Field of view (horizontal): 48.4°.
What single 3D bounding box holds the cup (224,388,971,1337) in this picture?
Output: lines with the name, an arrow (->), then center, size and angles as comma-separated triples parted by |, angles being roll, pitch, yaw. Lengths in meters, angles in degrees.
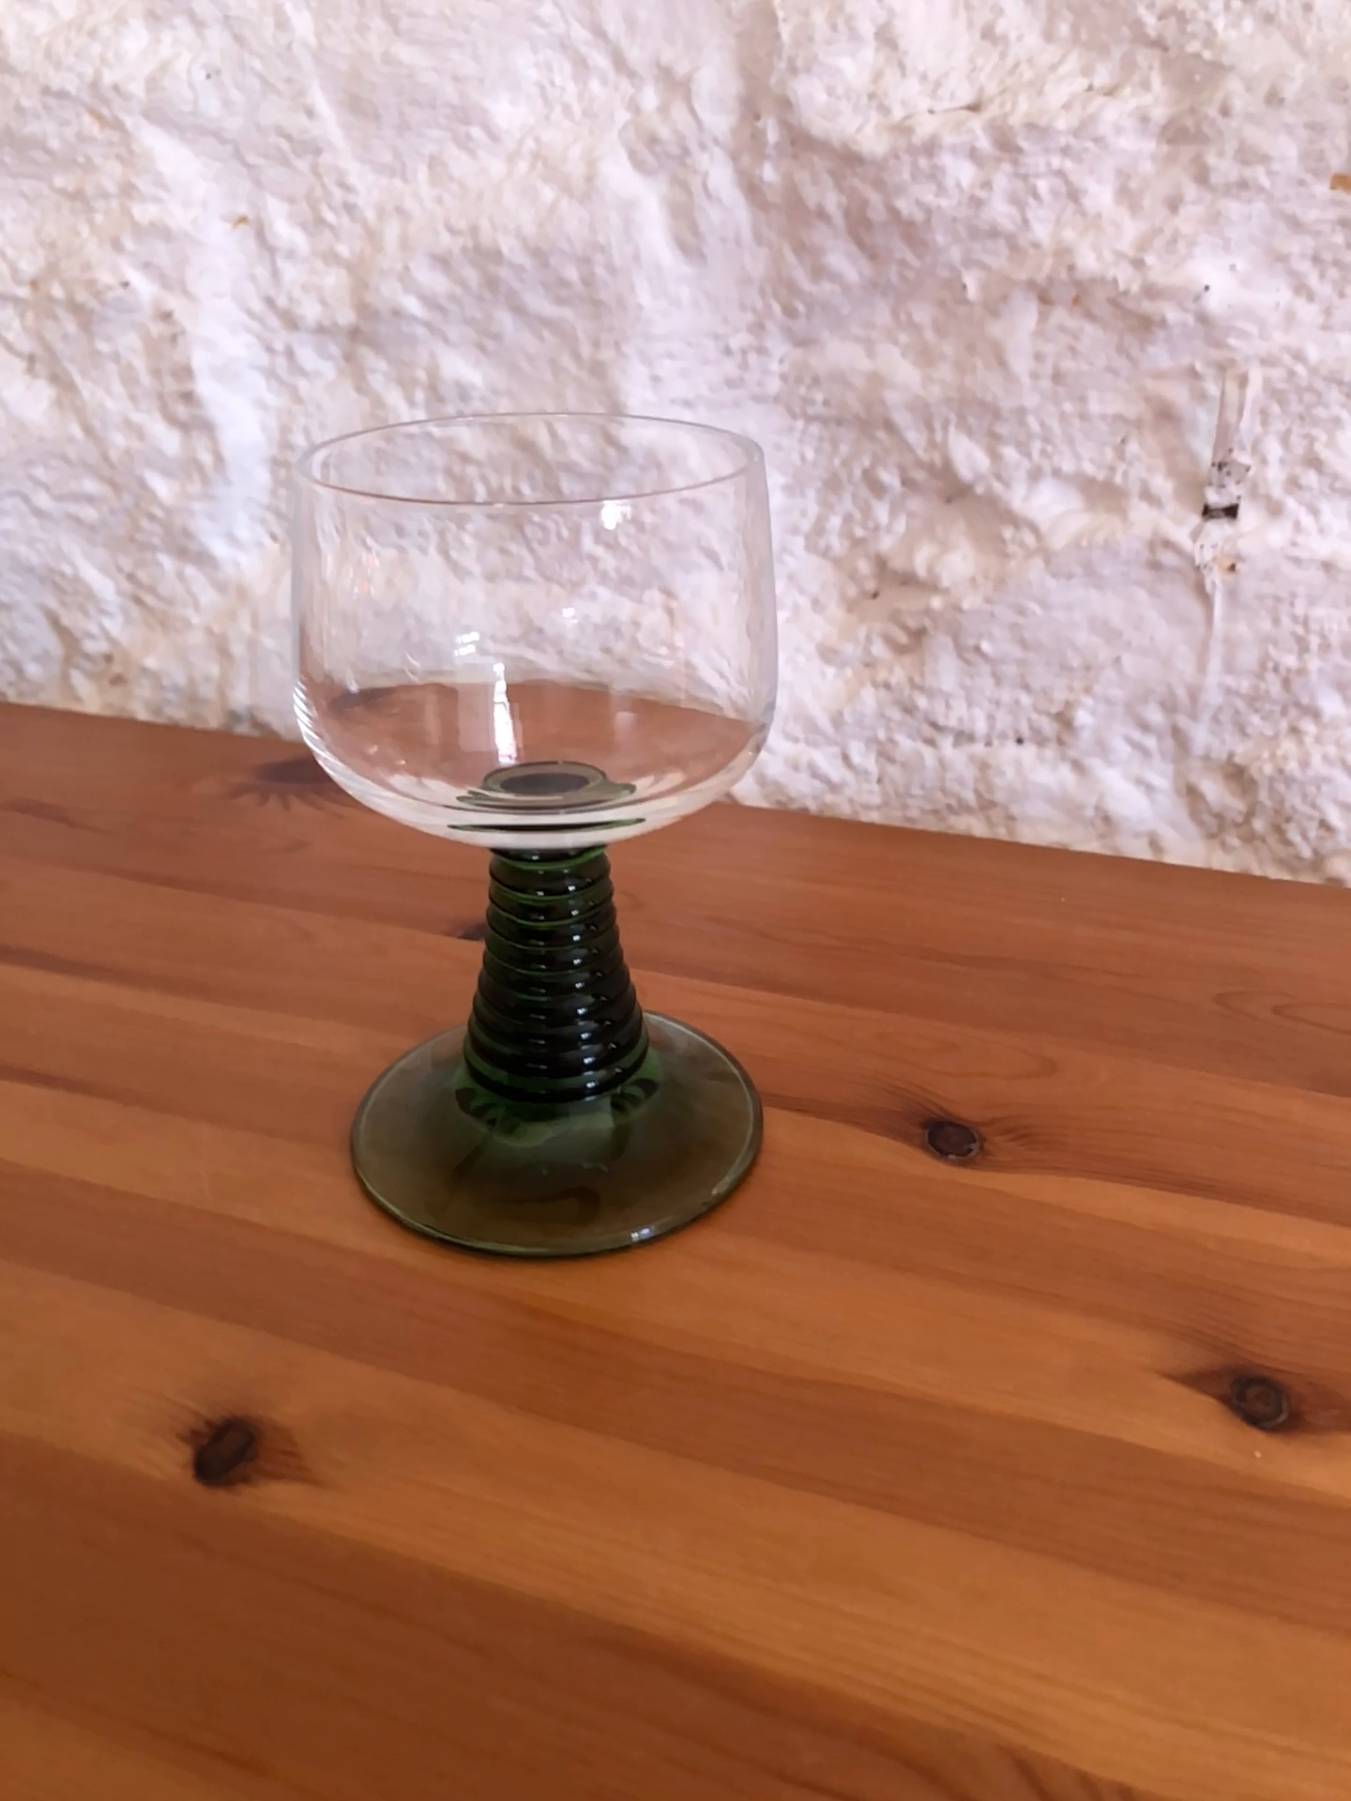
cup -> -0.014, -0.012, 0.219 | 0.074, 0.106, 0.074 | 0, 26, 0
